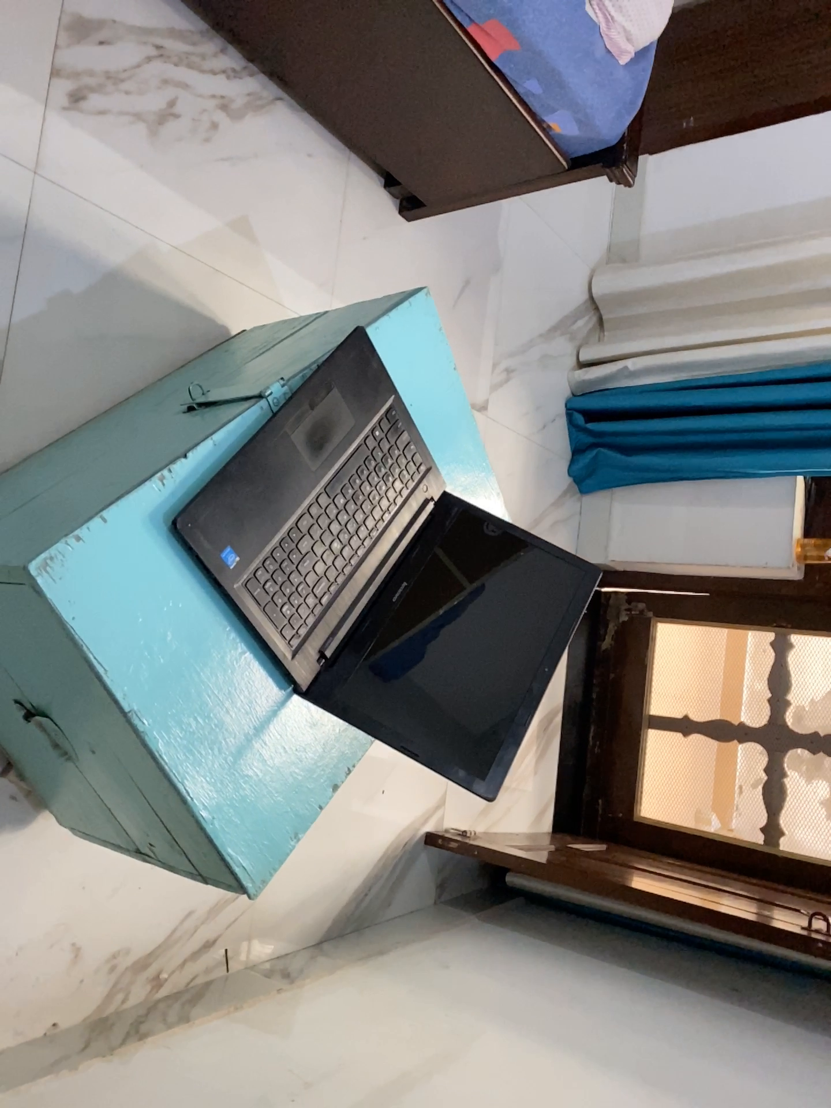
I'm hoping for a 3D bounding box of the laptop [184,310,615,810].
[{"bbox_3d":[0.022,0.004,1.004,0.371,0.190,0.424,-56,130,-35],"label":"laptop"}]
